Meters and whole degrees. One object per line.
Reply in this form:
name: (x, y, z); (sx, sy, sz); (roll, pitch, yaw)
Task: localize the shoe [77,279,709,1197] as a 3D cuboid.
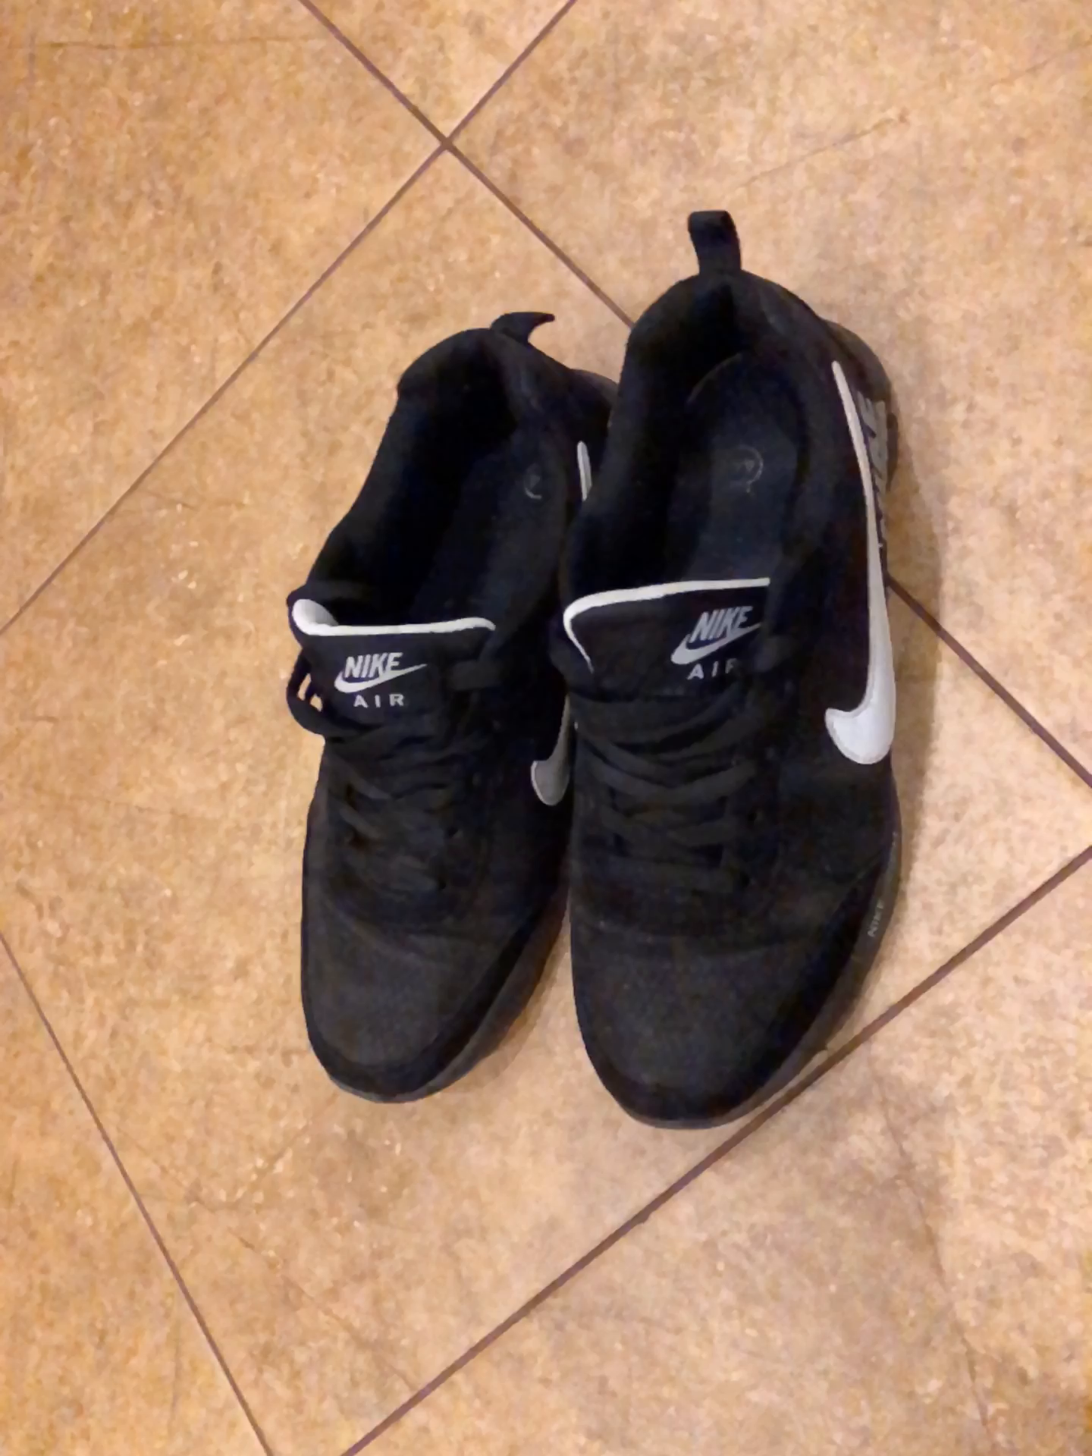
shoe: (-0.044, 0.001, 0.427); (0.110, 0.120, 0.270); (14, 87, 25)

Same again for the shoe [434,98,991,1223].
shoe: (0.065, -0.021, 0.393); (0.120, 0.120, 0.300); (4, 83, 24)
